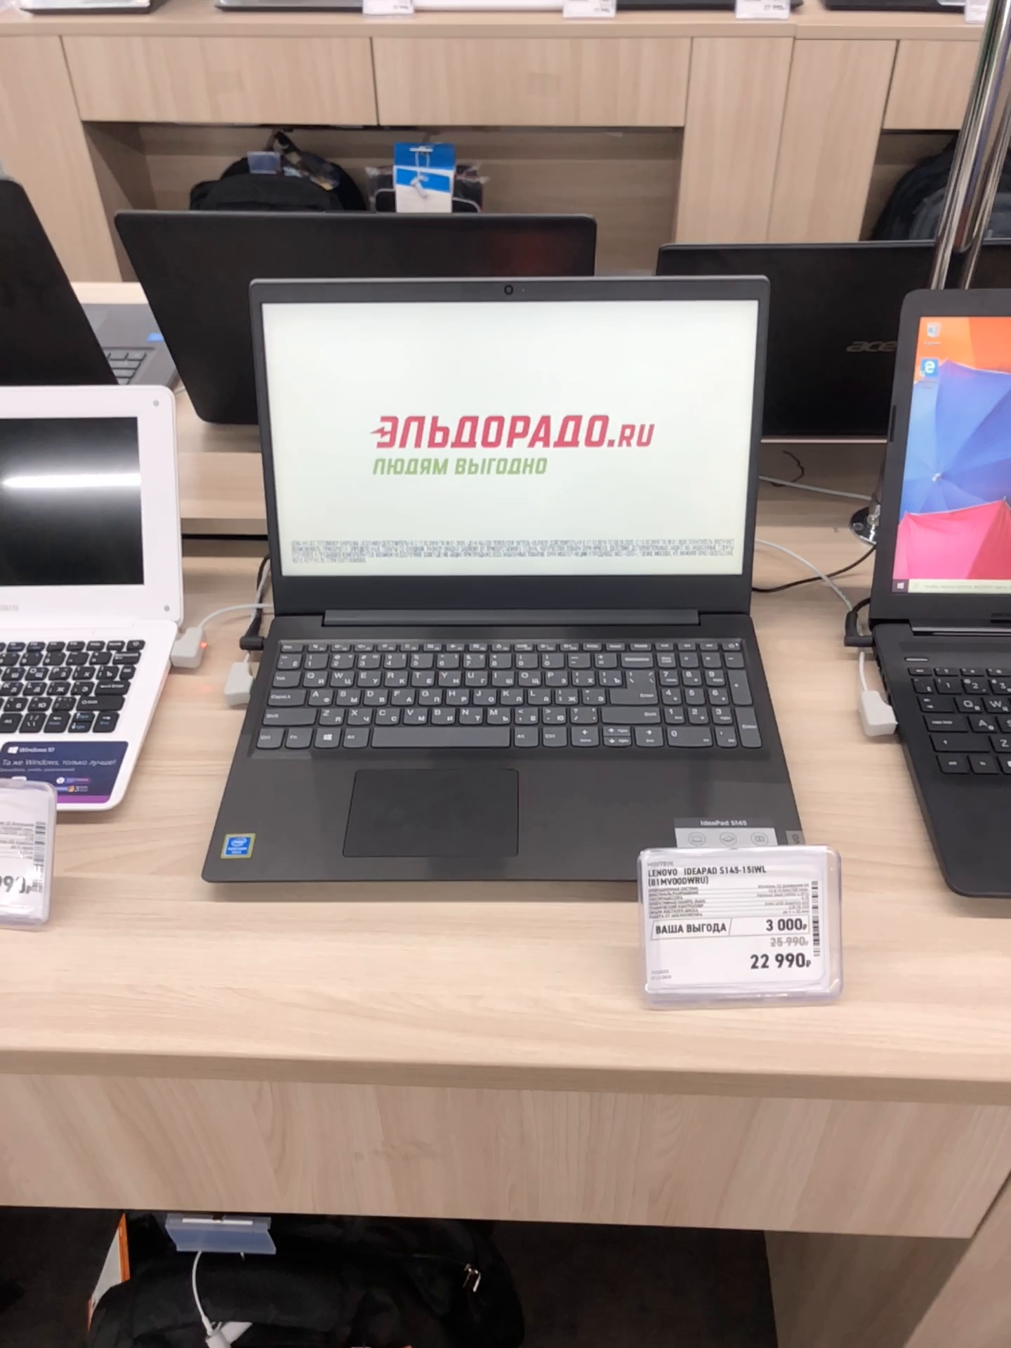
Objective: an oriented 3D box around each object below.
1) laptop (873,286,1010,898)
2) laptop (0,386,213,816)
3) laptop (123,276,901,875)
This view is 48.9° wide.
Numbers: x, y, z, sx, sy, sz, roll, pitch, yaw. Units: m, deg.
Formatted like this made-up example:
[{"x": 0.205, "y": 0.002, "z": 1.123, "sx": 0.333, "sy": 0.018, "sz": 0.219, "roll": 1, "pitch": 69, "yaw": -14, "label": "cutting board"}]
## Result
[{"x": 0.465, "y": -0.066, "z": 0.667, "sx": 0.374, "sy": 0.206, "sz": 0.323, "roll": 1, "pitch": 41, "yaw": 3, "label": "laptop"}, {"x": -0.380, "y": -0.061, "z": 0.757, "sx": 0.279, "sy": 0.139, "sz": 0.290, "roll": -1, "pitch": 41, "yaw": 1, "label": "laptop"}, {"x": 0.008, "y": -0.078, "z": 0.703, "sx": 0.354, "sy": 0.212, "sz": 0.342, "roll": 0, "pitch": 41, "yaw": 1, "label": "laptop"}]
